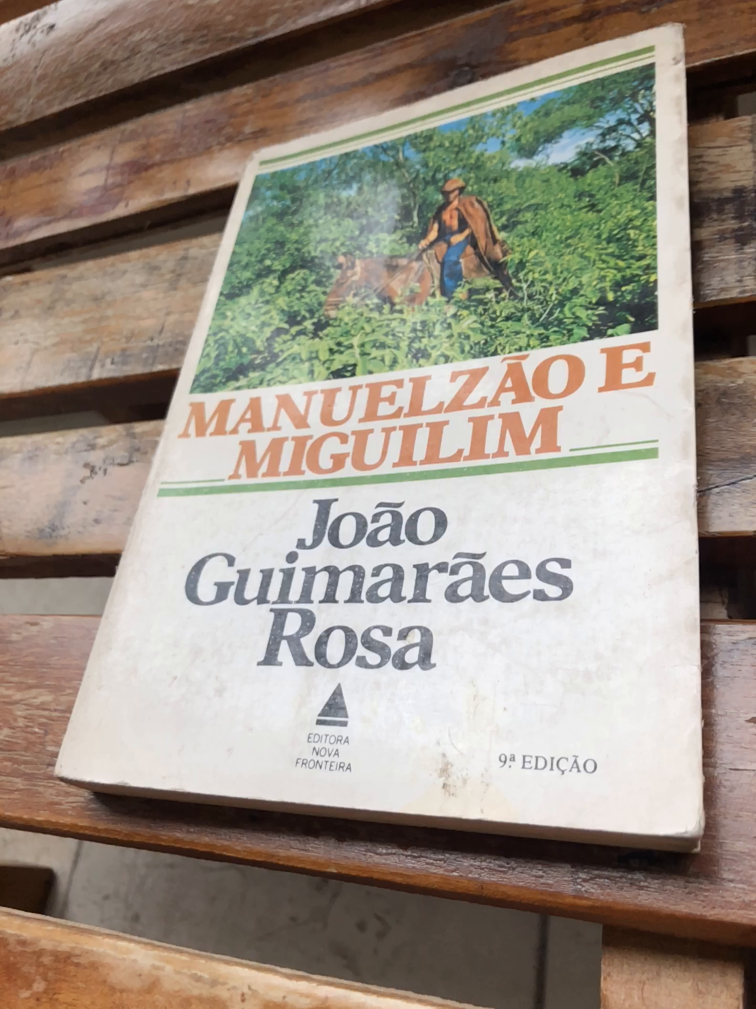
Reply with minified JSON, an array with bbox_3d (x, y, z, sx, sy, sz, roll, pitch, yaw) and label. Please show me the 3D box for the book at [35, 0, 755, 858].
[{"bbox_3d":[0.010,-0.031,0.203,0.141,0.020,0.201,-5,60,24],"label":"book"}]
